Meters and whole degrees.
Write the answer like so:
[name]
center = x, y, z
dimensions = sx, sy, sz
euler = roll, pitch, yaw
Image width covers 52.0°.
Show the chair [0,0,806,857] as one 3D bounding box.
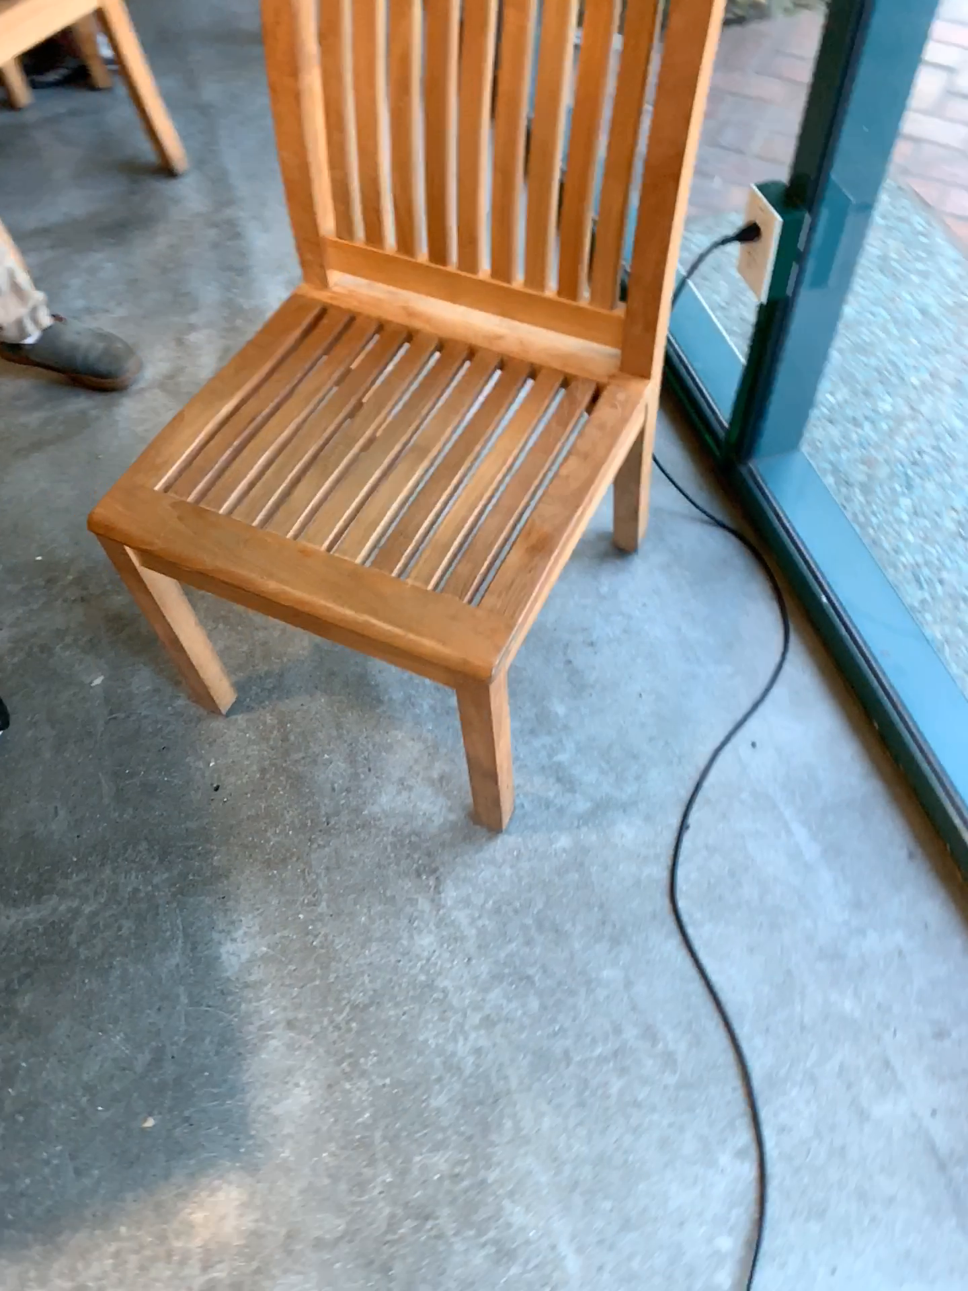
[chair]
center = -0.100, -0.304, 1.090
dimensions = 0.531, 0.916, 0.611
euler = 21, 61, 16
